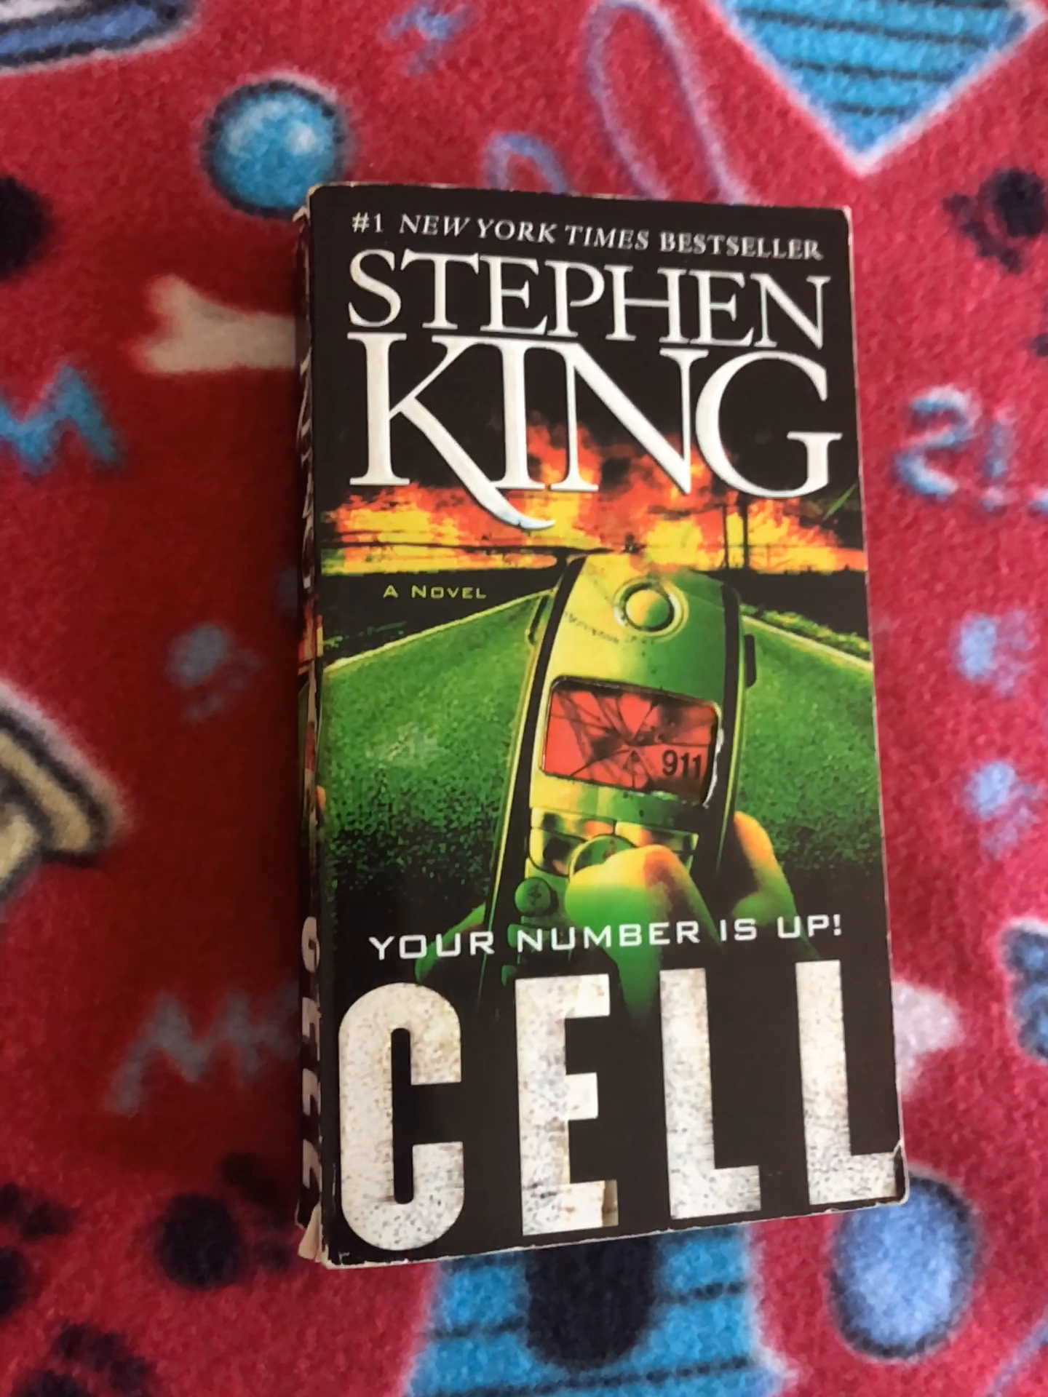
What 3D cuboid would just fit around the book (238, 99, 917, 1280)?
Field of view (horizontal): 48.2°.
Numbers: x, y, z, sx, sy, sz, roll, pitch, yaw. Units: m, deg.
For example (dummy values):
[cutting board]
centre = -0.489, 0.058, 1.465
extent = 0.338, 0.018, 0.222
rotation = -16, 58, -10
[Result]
[book]
centre = 0.007, -0.006, 0.226
extent = 0.120, 0.030, 0.200
rotation = 0, 83, -14
